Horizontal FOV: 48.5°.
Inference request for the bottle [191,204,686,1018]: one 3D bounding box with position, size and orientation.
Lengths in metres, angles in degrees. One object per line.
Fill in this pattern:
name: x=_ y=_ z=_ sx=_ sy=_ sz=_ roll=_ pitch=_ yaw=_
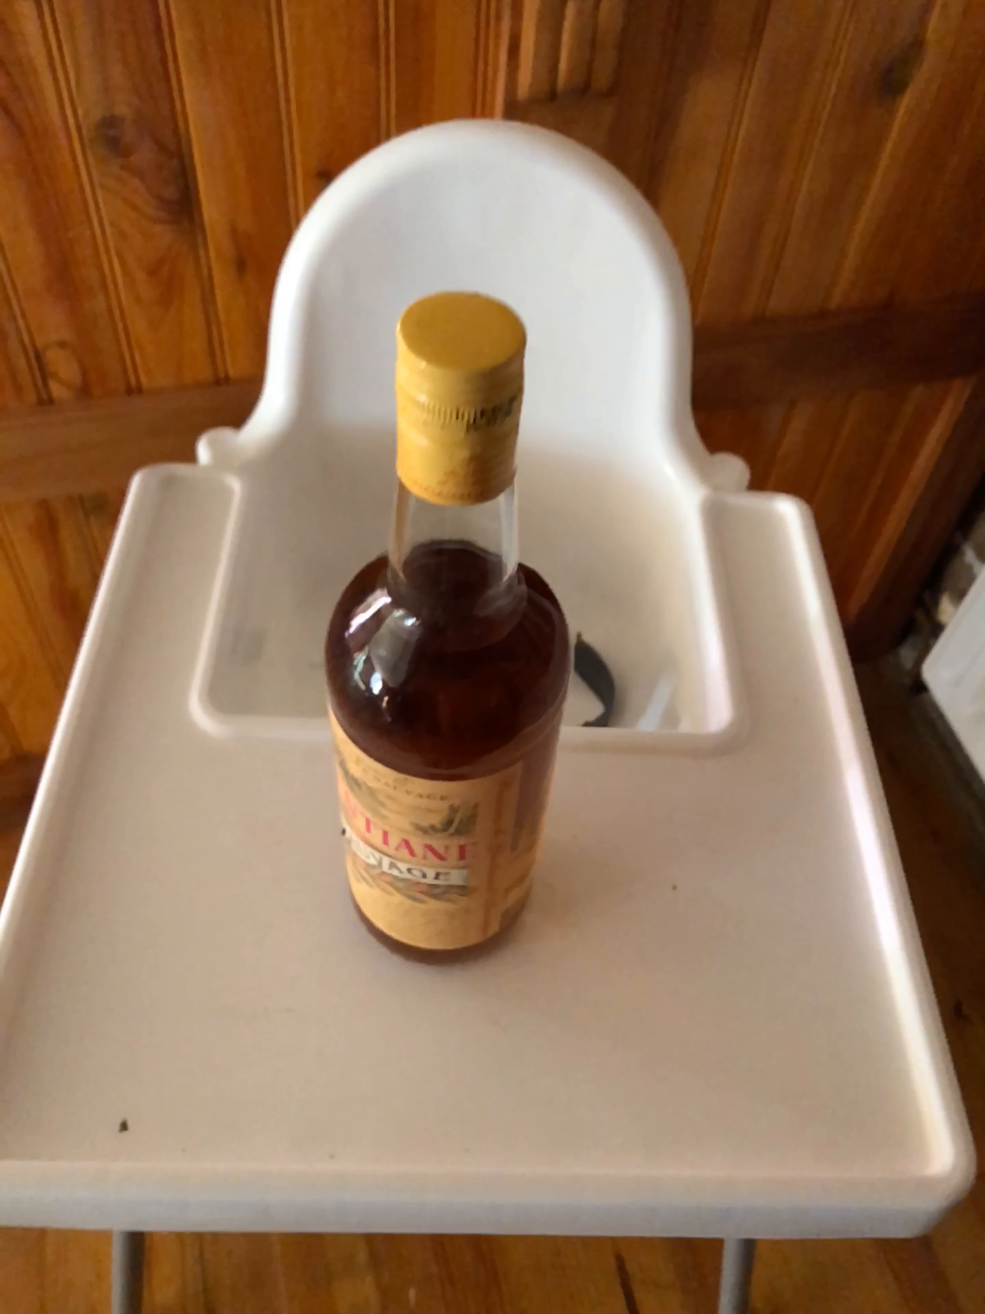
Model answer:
bottle: x=-0.021 y=0.014 z=0.383 sx=0.090 sy=0.298 sz=0.080 roll=36 pitch=58 yaw=22
